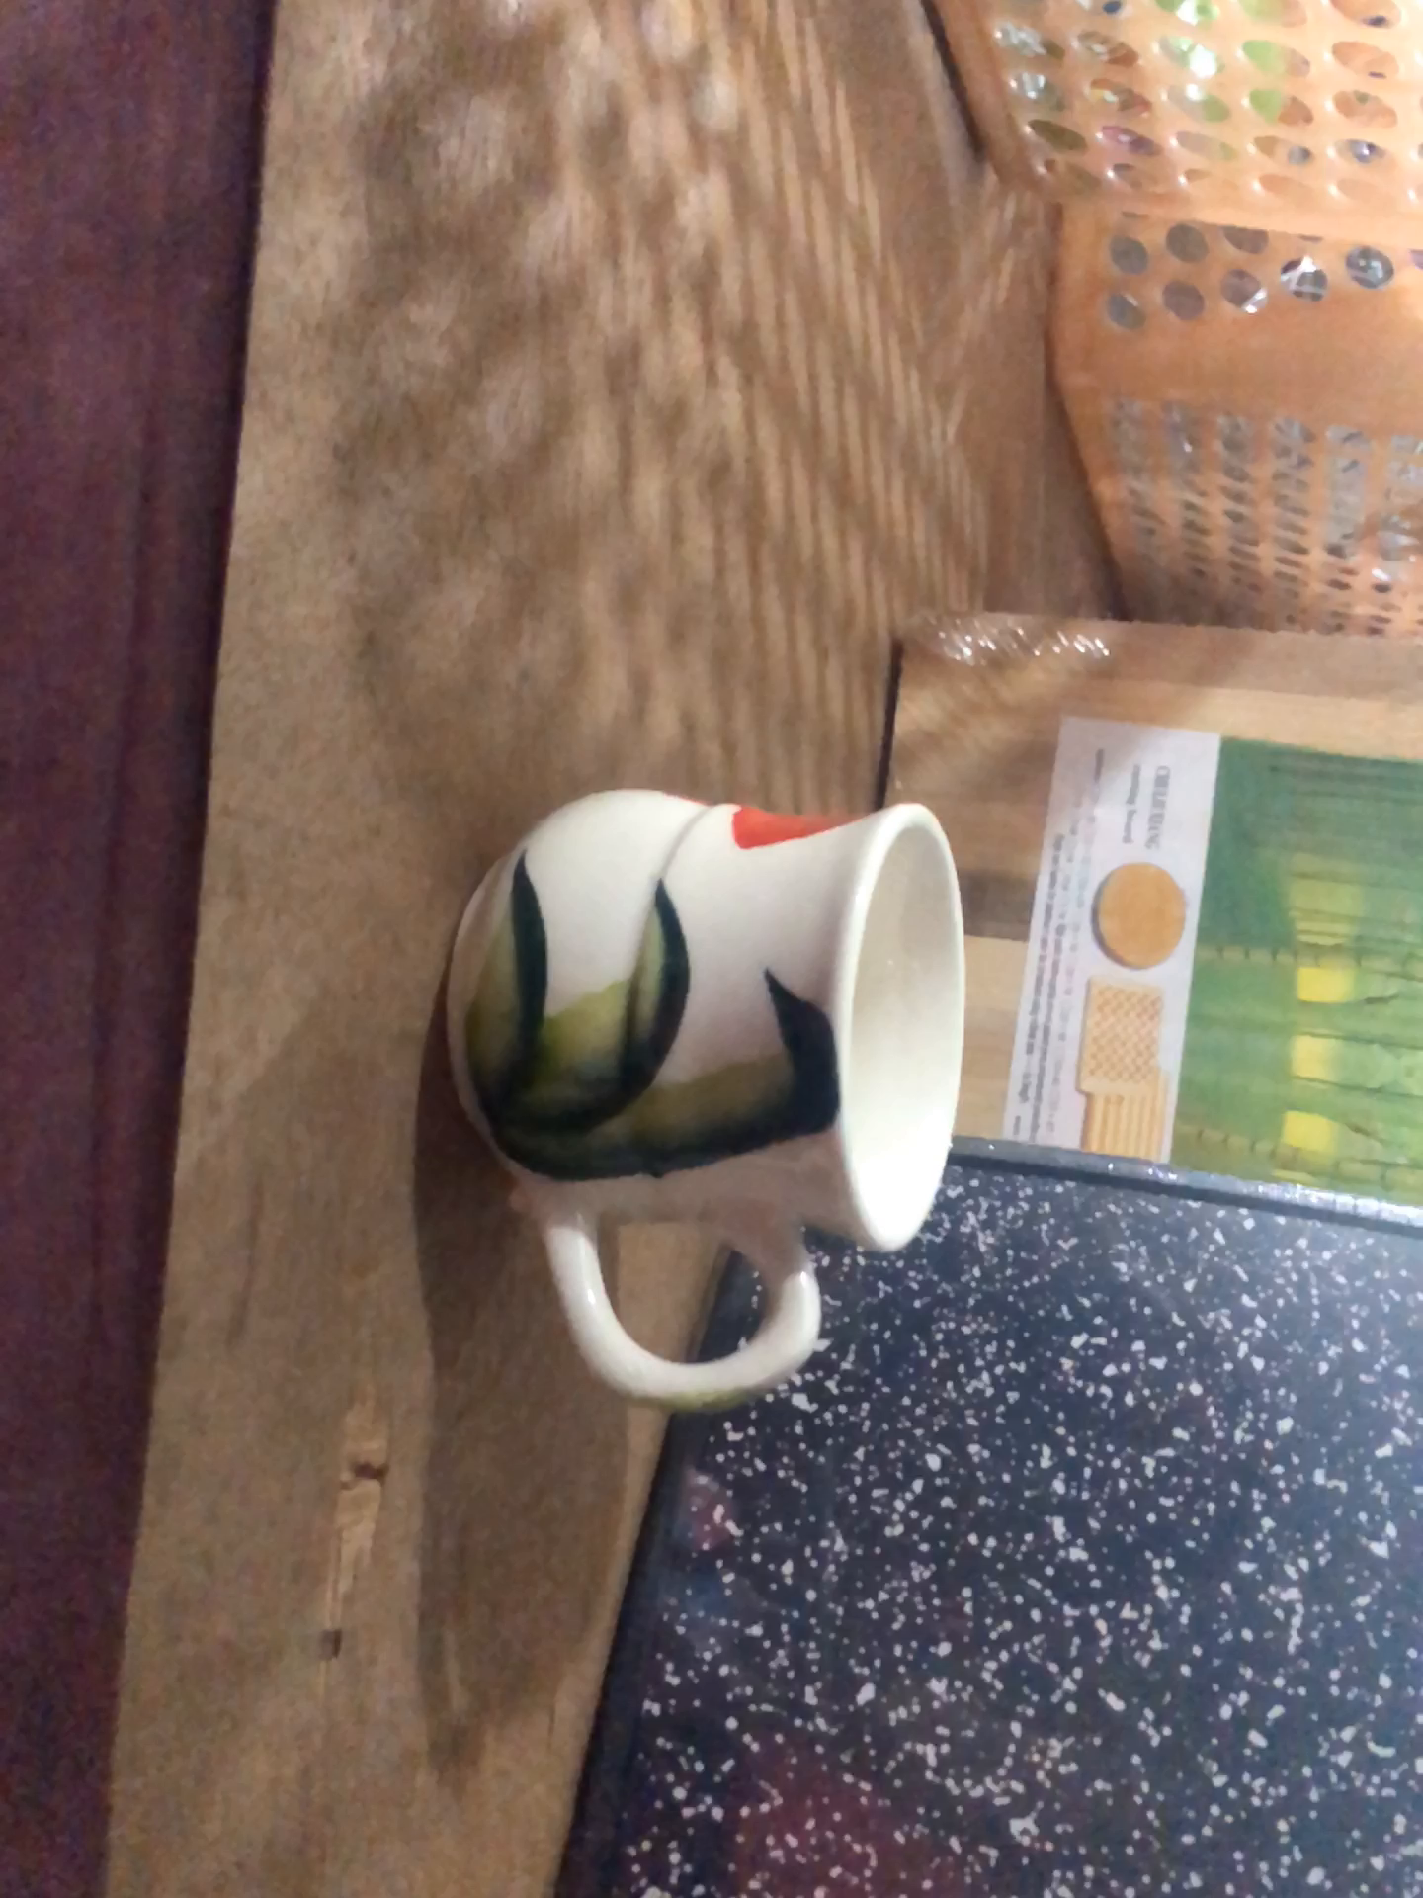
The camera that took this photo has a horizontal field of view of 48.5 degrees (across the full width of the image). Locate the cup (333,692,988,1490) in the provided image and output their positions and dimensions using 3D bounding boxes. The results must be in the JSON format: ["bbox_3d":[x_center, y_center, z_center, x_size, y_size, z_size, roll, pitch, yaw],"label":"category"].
[{"bbox_3d":[-0.002,0.019,0.215,0.060,0.060,0.090,32,62,-65],"label":"cup"}]
